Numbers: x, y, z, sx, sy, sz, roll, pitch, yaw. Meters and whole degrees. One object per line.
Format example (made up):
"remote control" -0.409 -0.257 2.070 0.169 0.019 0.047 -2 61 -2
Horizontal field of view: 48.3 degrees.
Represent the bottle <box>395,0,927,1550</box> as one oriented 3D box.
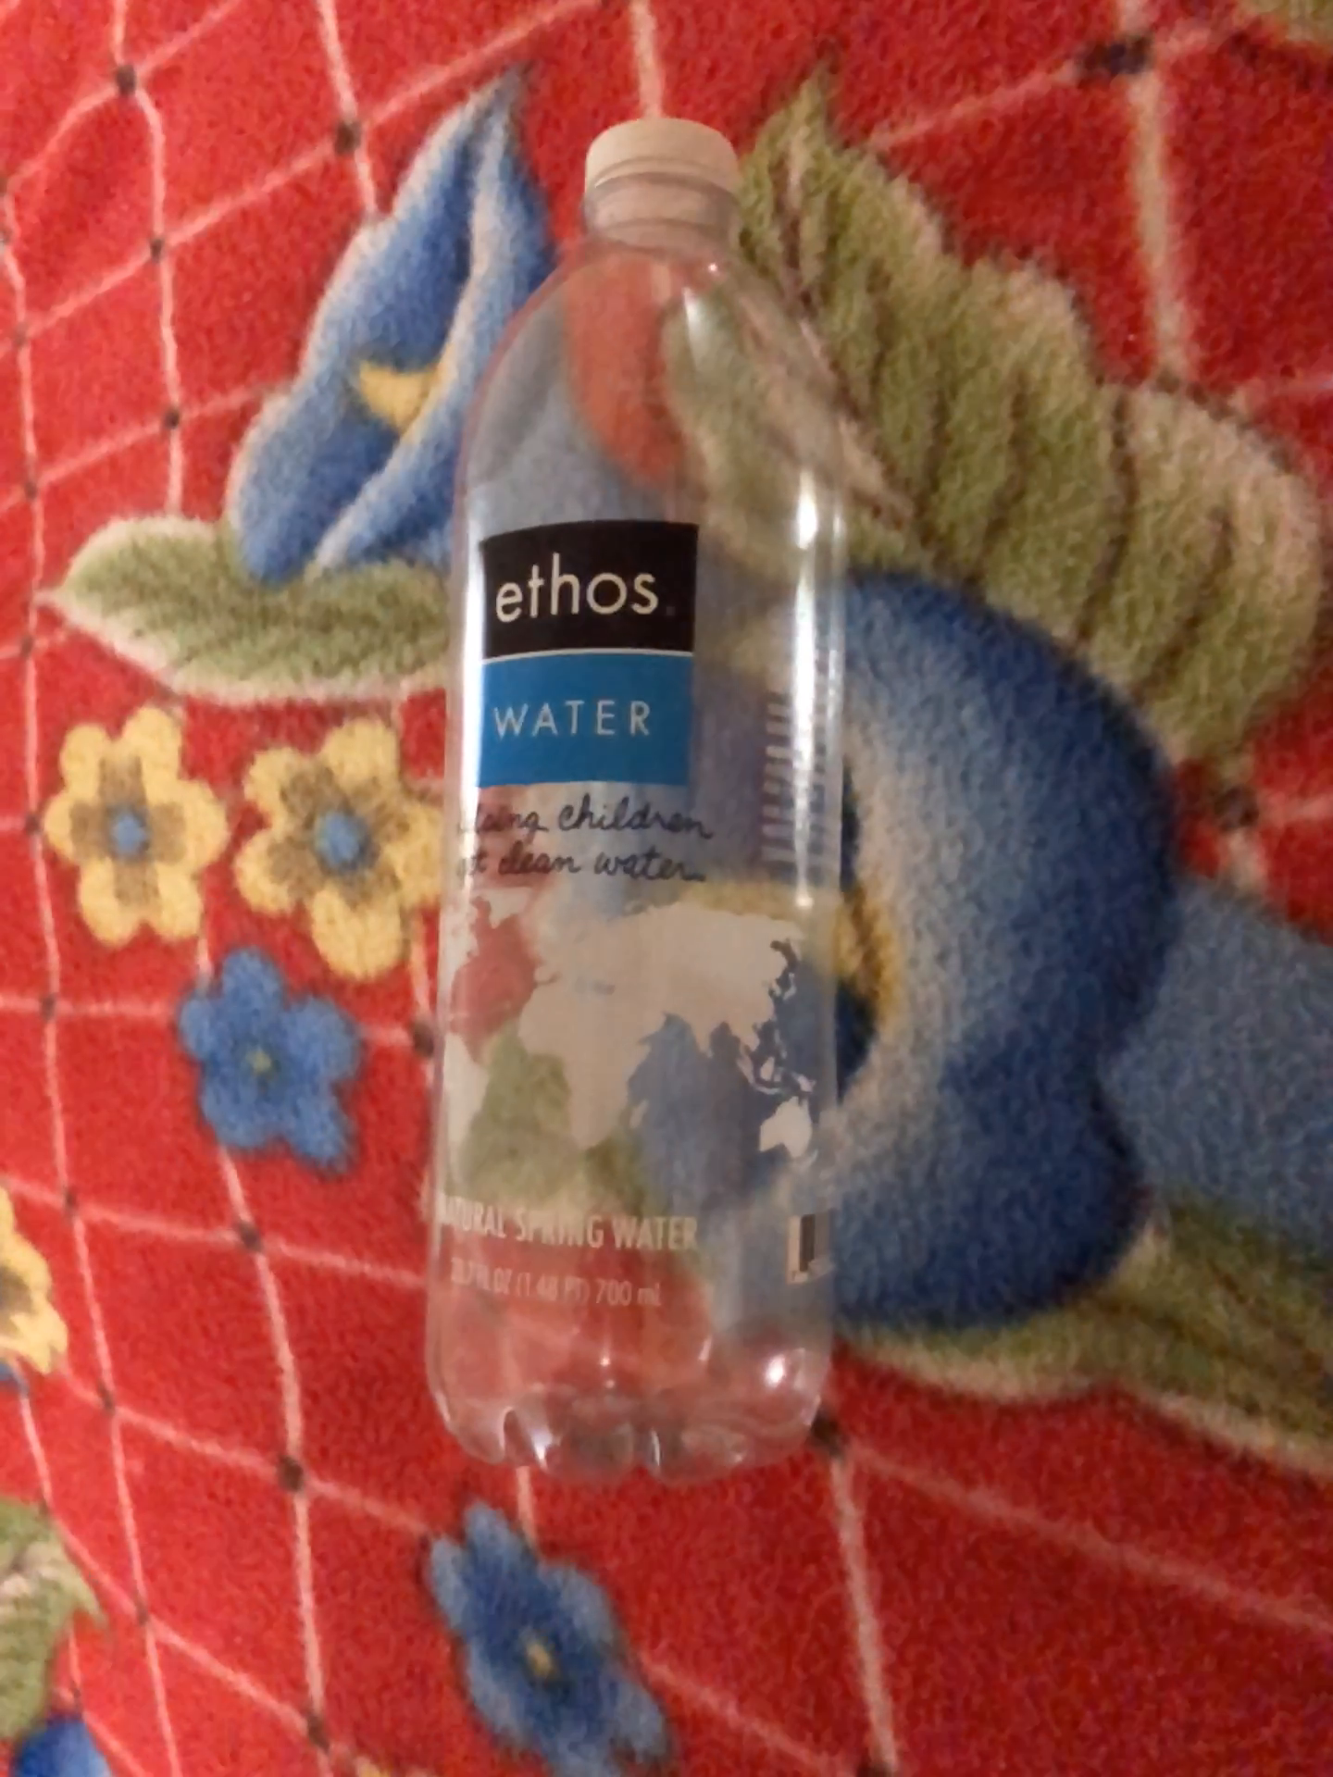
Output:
"bottle" 0.002 -0.026 0.255 0.070 0.070 0.240 -1 89 20
